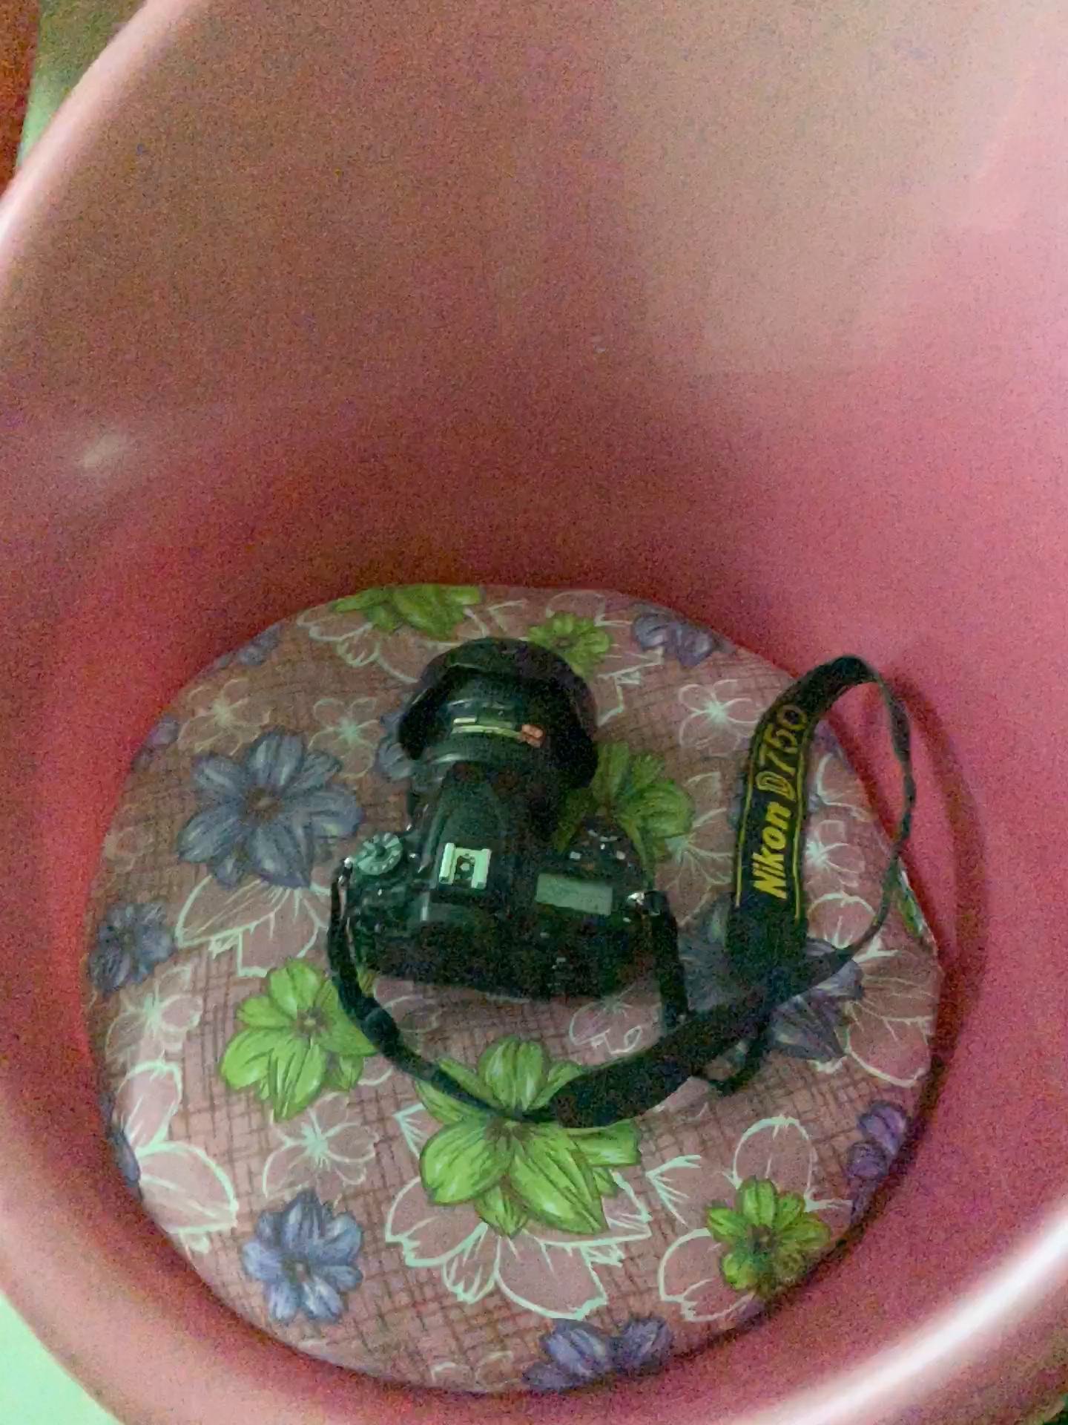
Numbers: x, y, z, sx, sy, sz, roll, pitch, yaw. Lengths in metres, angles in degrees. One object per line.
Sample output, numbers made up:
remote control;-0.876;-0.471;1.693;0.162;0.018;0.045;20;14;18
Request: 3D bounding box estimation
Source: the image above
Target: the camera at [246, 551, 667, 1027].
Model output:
camera;-0.026;0.039;0.571;0.166;0.130;0.192;6;59;7
